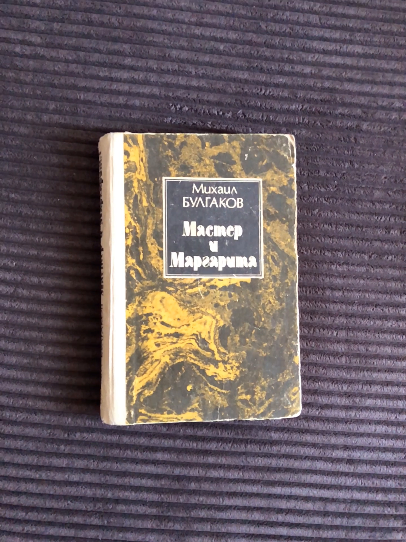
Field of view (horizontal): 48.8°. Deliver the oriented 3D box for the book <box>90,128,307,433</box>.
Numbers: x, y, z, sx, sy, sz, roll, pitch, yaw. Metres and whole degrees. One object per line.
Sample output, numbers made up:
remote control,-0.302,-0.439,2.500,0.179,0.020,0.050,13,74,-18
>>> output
book,-0.005,0.004,0.348,0.154,0.035,0.220,-1,86,-5
